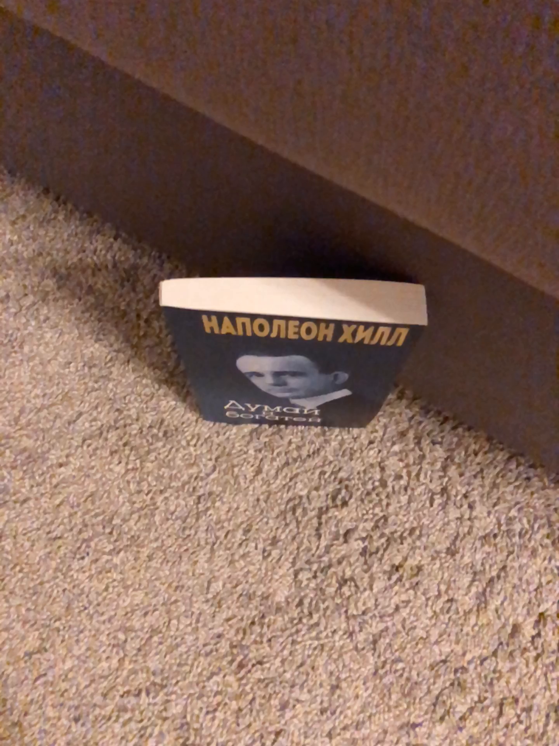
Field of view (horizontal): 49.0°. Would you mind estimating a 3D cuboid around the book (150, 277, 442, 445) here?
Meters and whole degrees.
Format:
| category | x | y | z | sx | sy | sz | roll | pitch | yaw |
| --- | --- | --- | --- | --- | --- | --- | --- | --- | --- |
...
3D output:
| category | x | y | z | sx | sy | sz | roll | pitch | yaw |
| --- | --- | --- | --- | --- | --- | --- | --- | --- | --- |
| book | 0.005 | 0.005 | 0.375 | 0.132 | 0.199 | 0.030 | 1 | 70 | -2 |
